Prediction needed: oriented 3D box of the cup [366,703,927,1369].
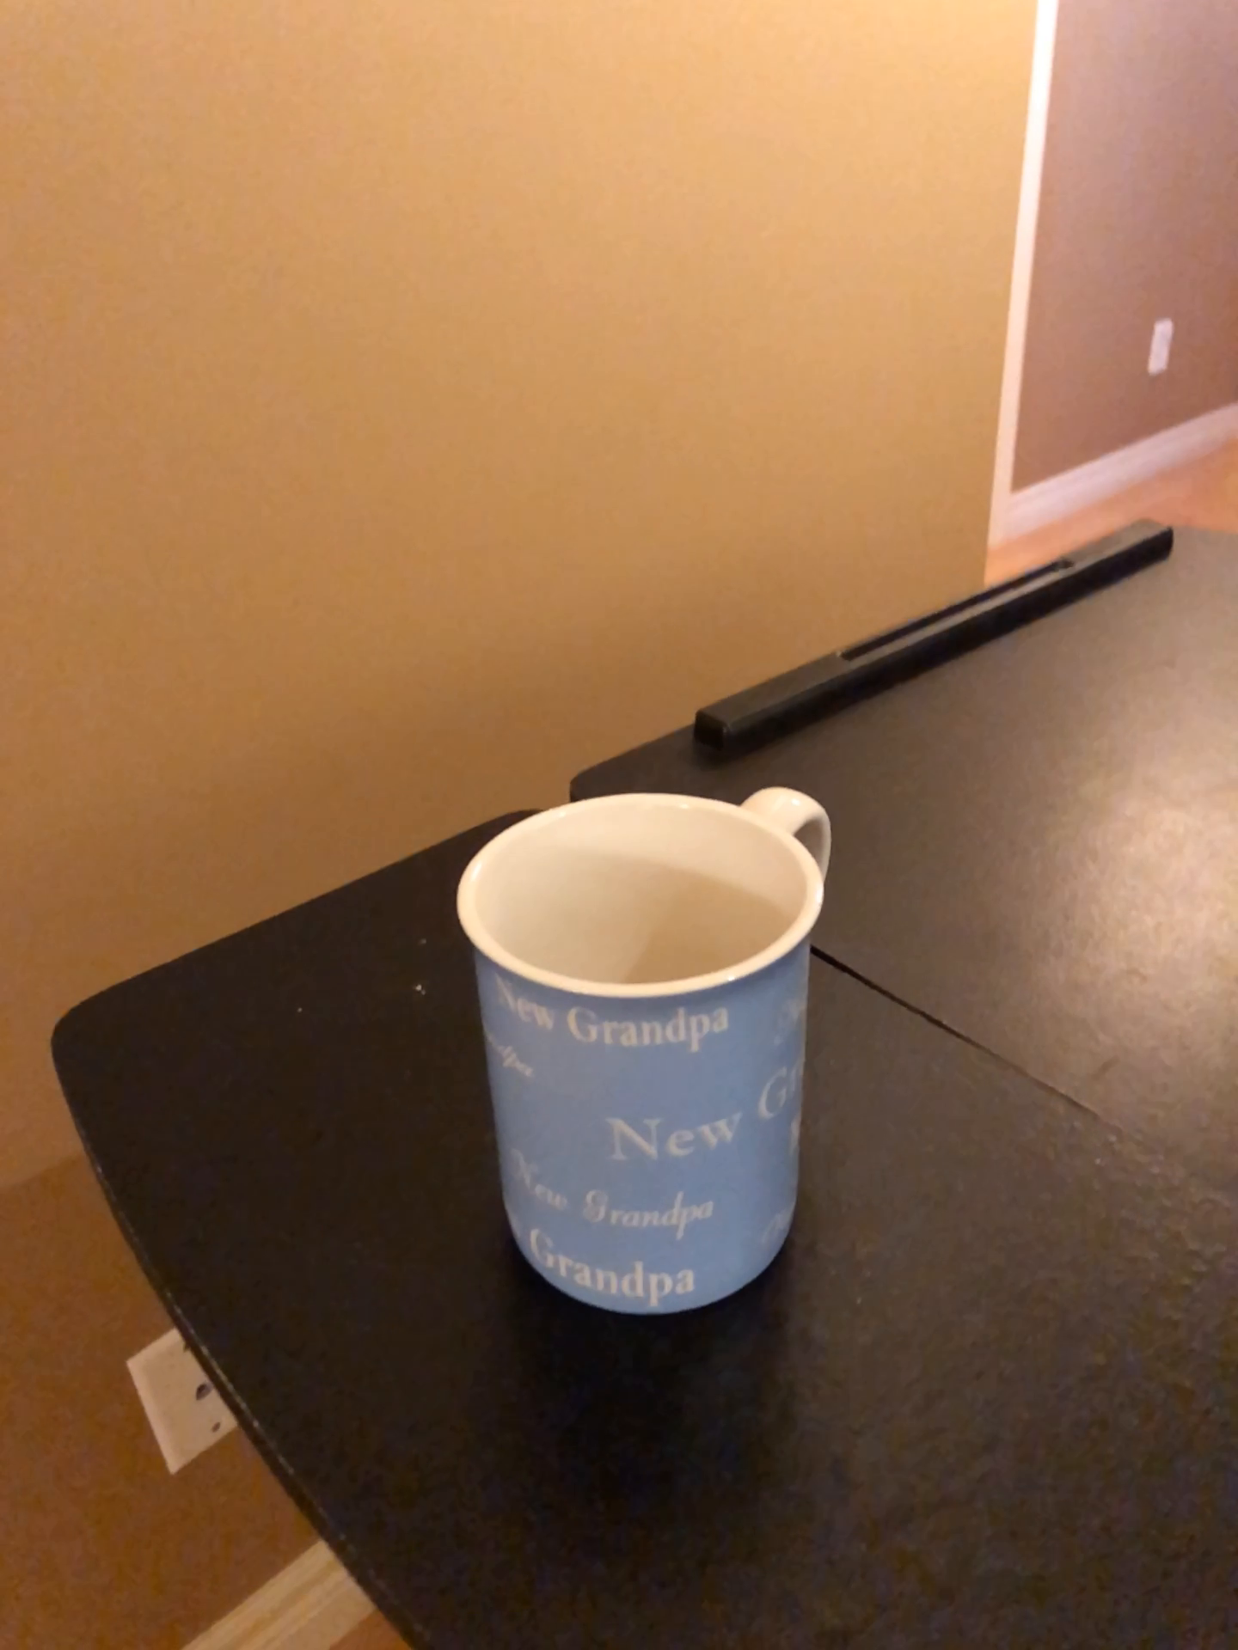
[{"bbox_3d":[0.016,0.049,0.386,0.100,0.109,0.131,12,33,25],"label":"cup"}]
